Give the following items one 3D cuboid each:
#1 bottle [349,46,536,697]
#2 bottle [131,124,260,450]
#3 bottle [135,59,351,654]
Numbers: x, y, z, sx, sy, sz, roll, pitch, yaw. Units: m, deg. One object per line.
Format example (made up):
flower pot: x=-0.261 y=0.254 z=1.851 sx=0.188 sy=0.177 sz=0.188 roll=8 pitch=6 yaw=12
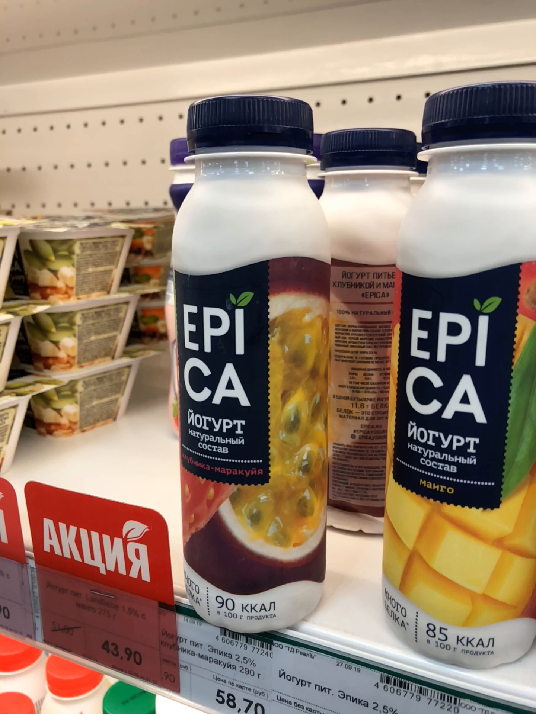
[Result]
bottle: x=0.062 y=0.006 z=0.193 sx=0.053 sy=0.177 sz=0.051 roll=-1 pitch=14 yaw=0
bottle: x=-0.041 y=-0.041 z=0.367 sx=0.053 sy=0.182 sz=0.051 roll=-1 pitch=14 yaw=0
bottle: x=-0.004 y=0.002 z=0.208 sx=0.050 sy=0.180 sz=0.050 roll=-1 pitch=14 yaw=0
